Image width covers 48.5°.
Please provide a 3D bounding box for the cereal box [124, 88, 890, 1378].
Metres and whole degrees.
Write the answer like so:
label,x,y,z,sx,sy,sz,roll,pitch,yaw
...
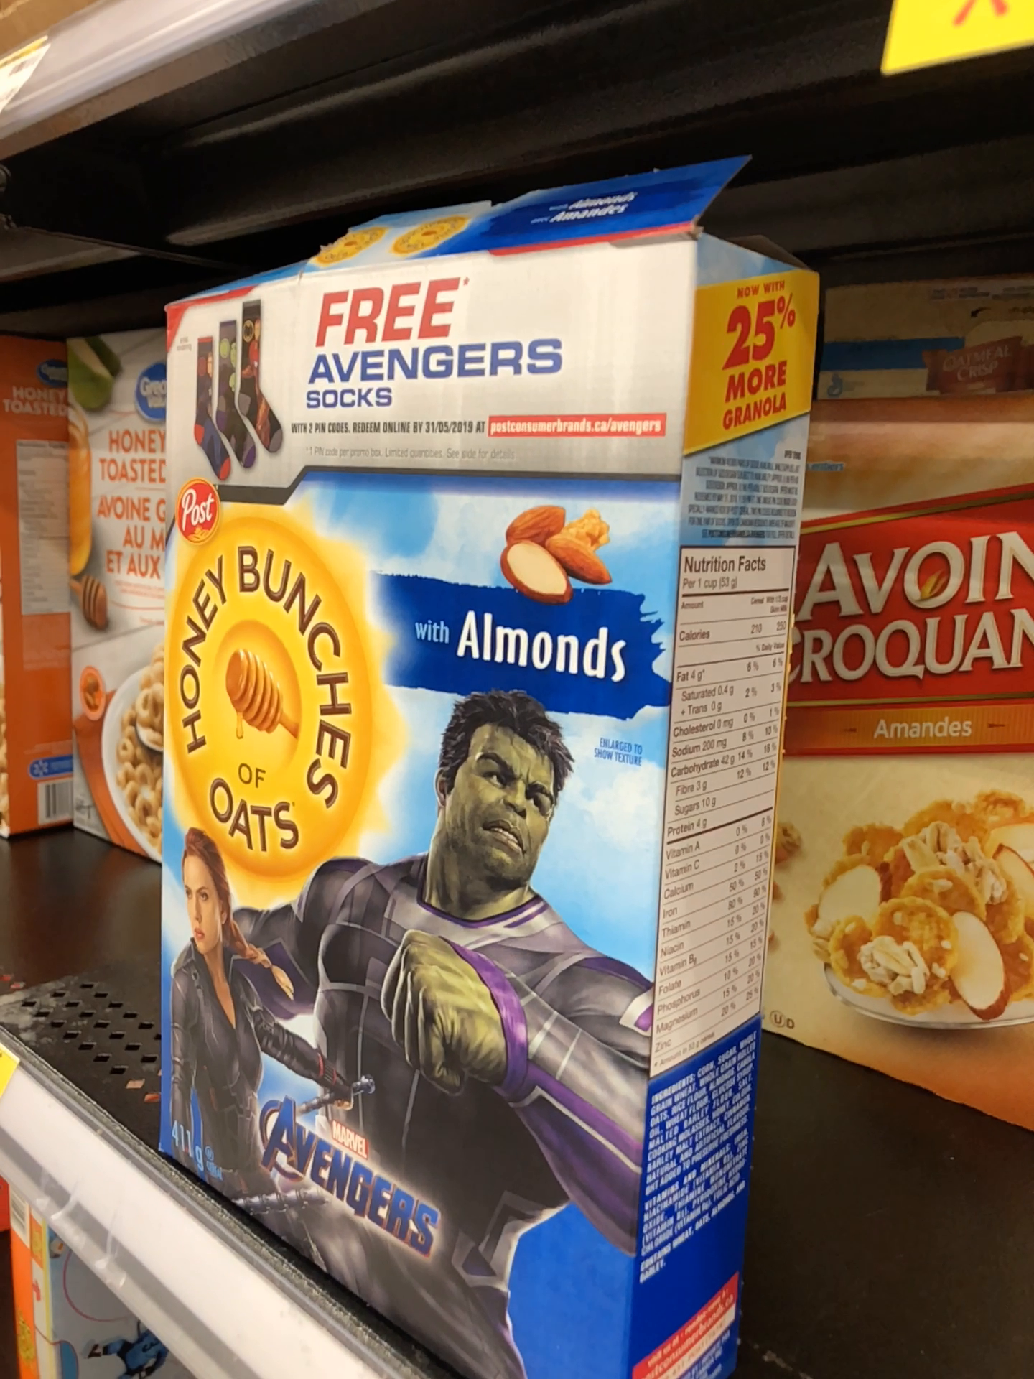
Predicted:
label,x,y,z,sx,sy,sz,roll,pitch,yaw
cereal box,-0.020,0.020,0.314,0.200,0.289,0.070,10,13,42
